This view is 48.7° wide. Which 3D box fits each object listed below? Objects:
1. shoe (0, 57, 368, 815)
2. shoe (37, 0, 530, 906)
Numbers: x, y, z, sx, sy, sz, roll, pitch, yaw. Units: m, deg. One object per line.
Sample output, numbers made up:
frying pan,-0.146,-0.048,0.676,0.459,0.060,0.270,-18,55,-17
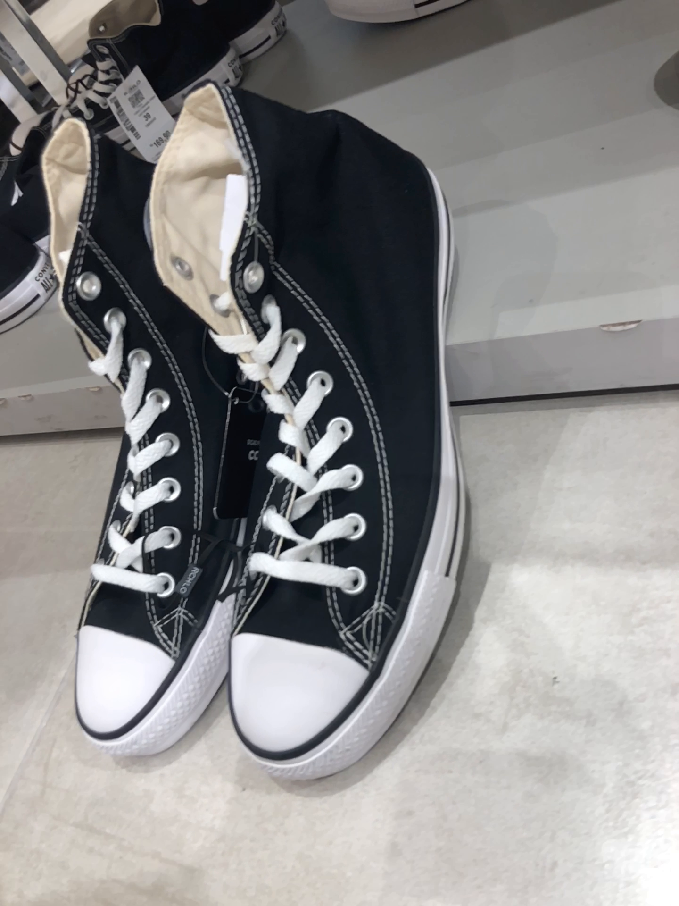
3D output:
shoe,-0.090,-0.007,0.391,0.120,0.139,0.310,0,79,35
shoe,-0.006,-0.025,0.323,0.120,0.139,0.331,-2,78,33
